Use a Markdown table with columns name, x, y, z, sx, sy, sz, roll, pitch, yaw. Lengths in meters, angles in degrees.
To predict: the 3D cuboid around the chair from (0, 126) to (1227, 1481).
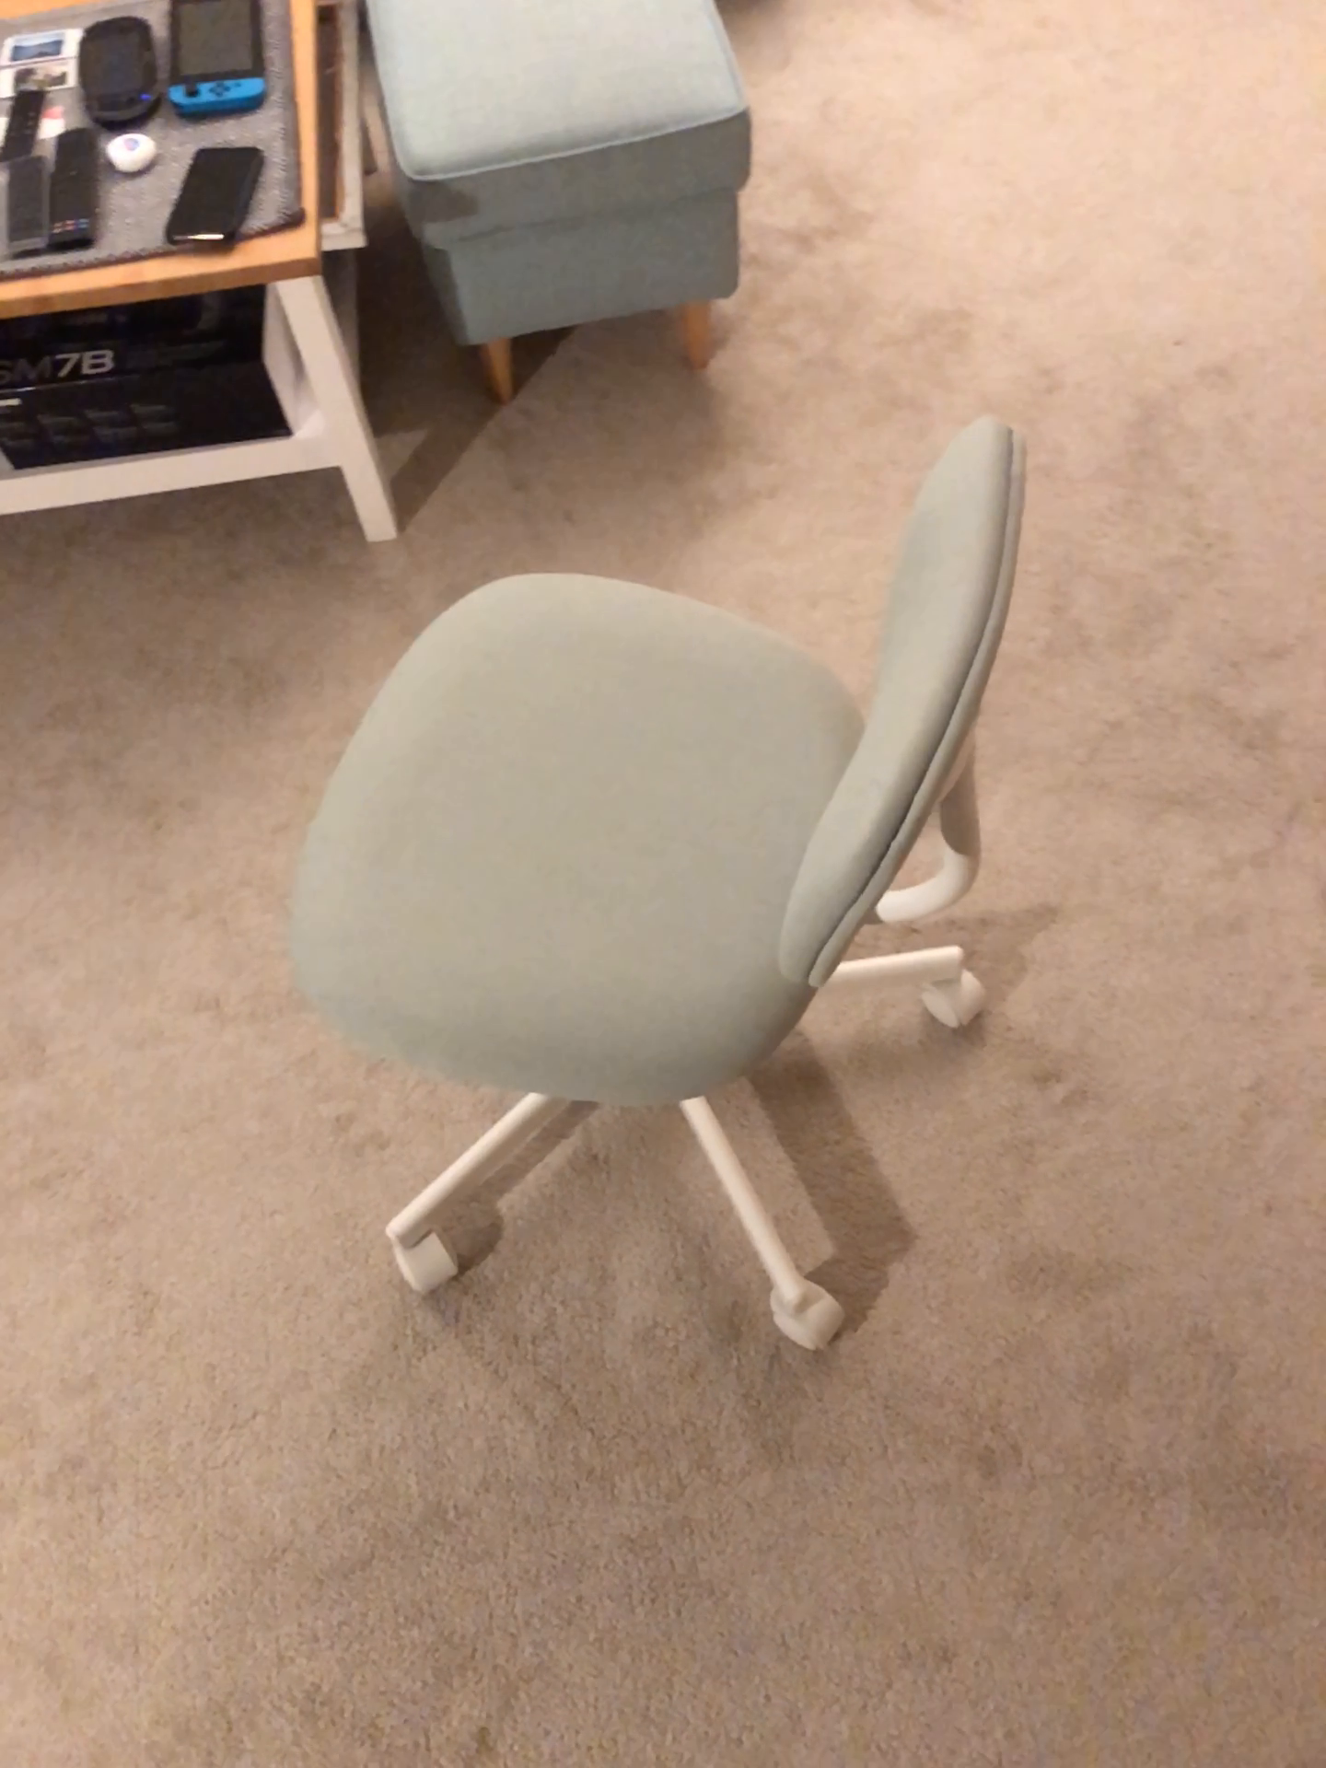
| name | x | y | z | sx | sy | sz | roll | pitch | yaw |
| --- | --- | --- | --- | --- | --- | --- | --- | --- | --- |
| chair | -0.036 | -0.031 | 1.144 | 0.640 | 0.678 | 0.662 | 17 | 63 | 14 |
